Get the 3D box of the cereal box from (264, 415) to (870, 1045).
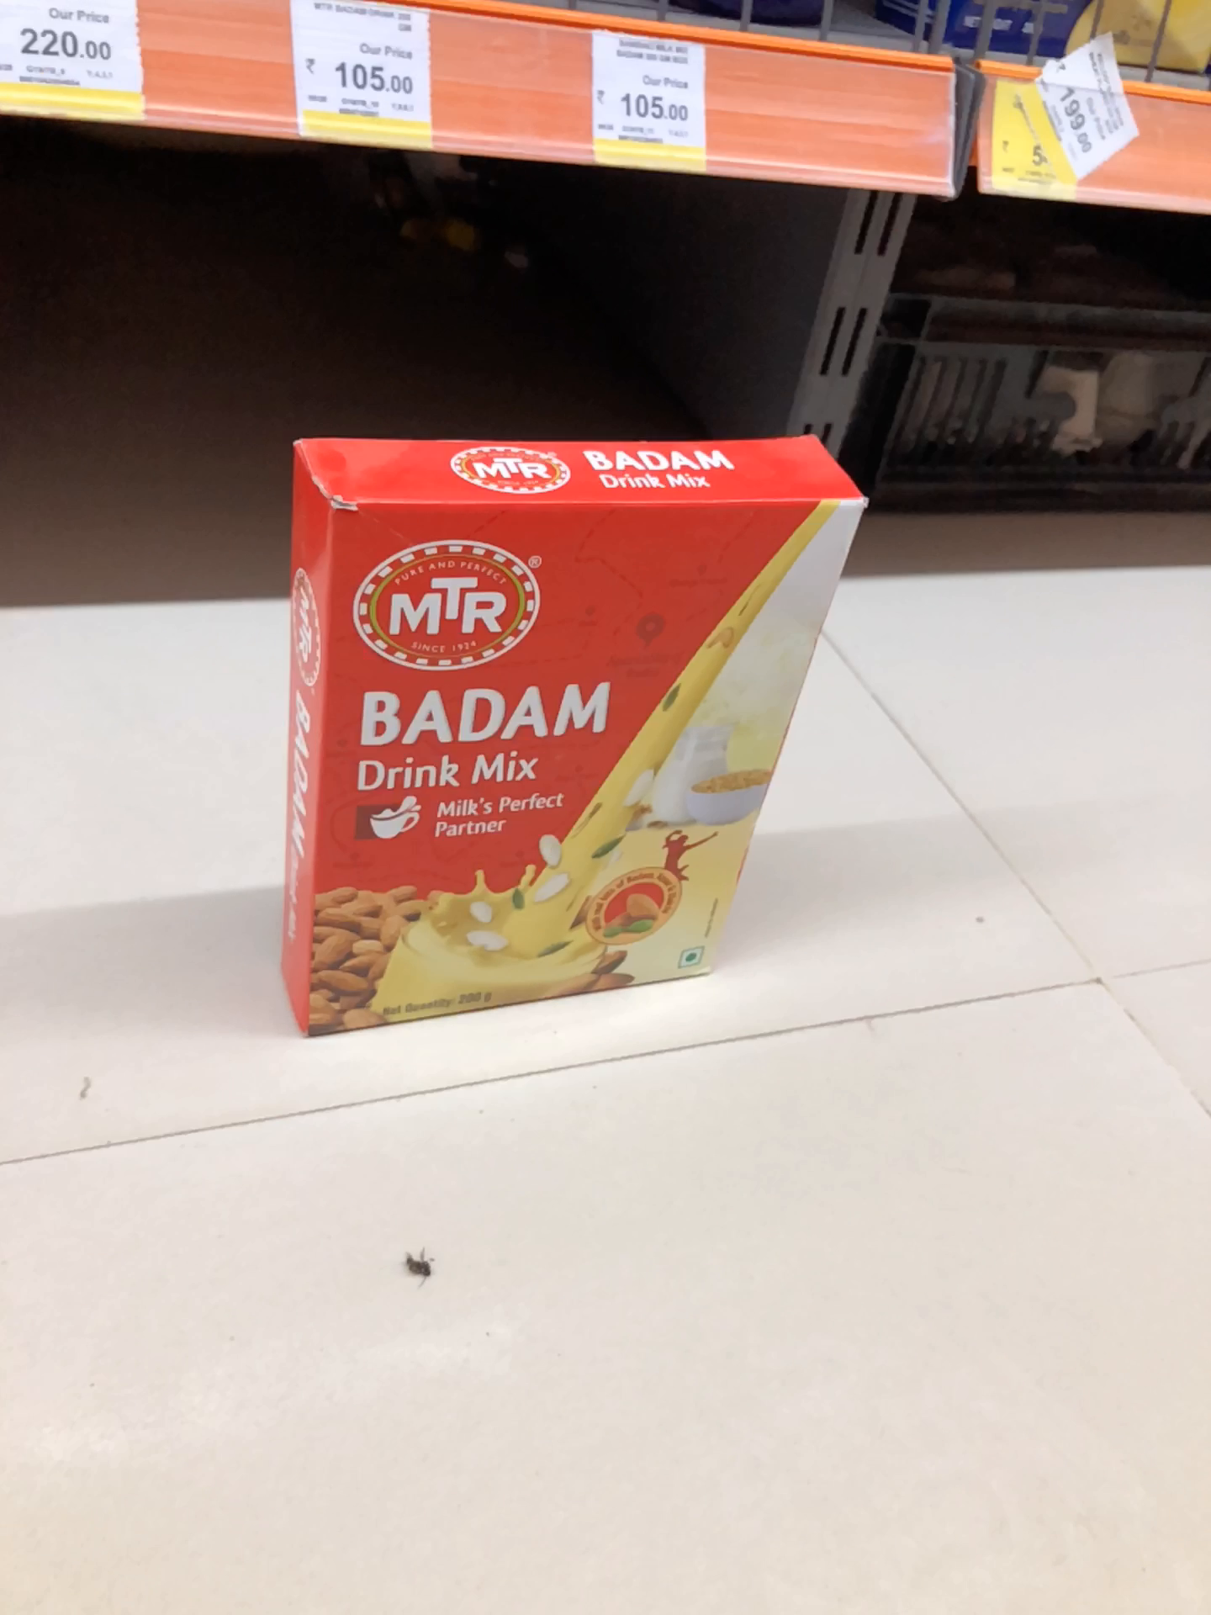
[{"bbox_3d":[-0.019,-0.017,0.349,0.130,0.159,0.040,-7,42,-22],"label":"cereal box"}]
